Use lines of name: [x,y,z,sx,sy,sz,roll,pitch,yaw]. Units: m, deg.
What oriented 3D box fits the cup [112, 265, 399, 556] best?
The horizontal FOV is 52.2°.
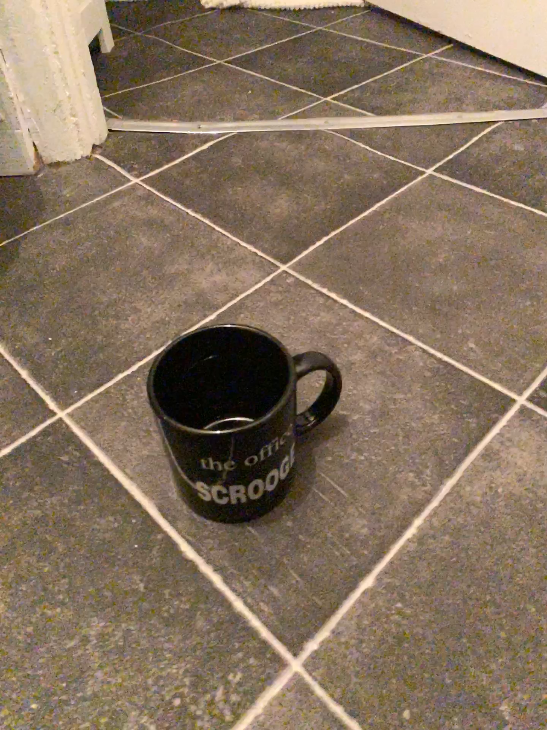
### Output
cup: [-0.010,0.024,0.343,0.130,0.099,0.091,-26,51,-21]
